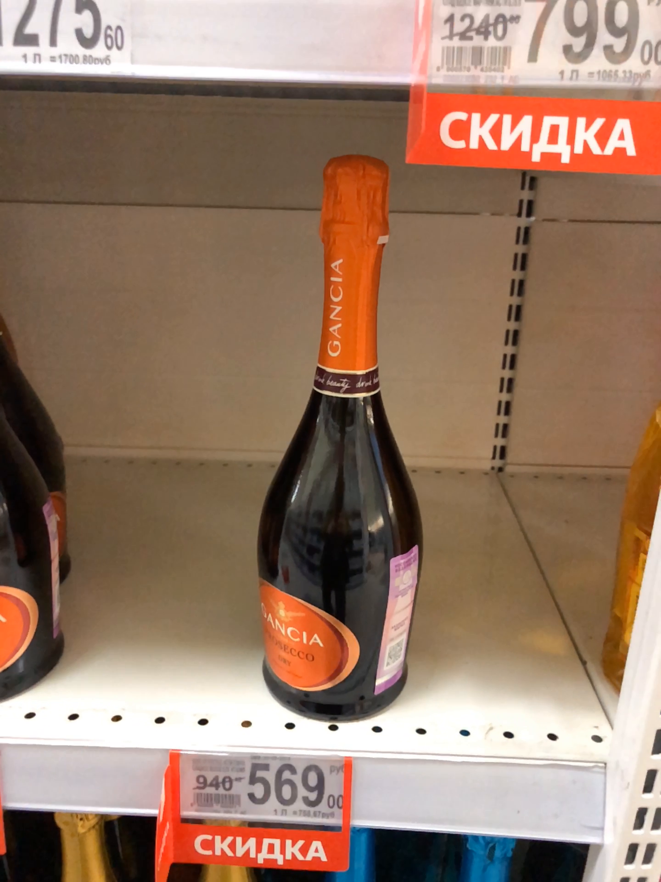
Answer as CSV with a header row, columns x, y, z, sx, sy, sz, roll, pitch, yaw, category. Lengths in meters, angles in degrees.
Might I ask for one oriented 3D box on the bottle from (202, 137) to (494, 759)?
x,y,z,sx,sy,sz,roll,pitch,yaw,category
0.006,0.001,0.406,0.100,0.309,0.100,1,20,-1,bottle
